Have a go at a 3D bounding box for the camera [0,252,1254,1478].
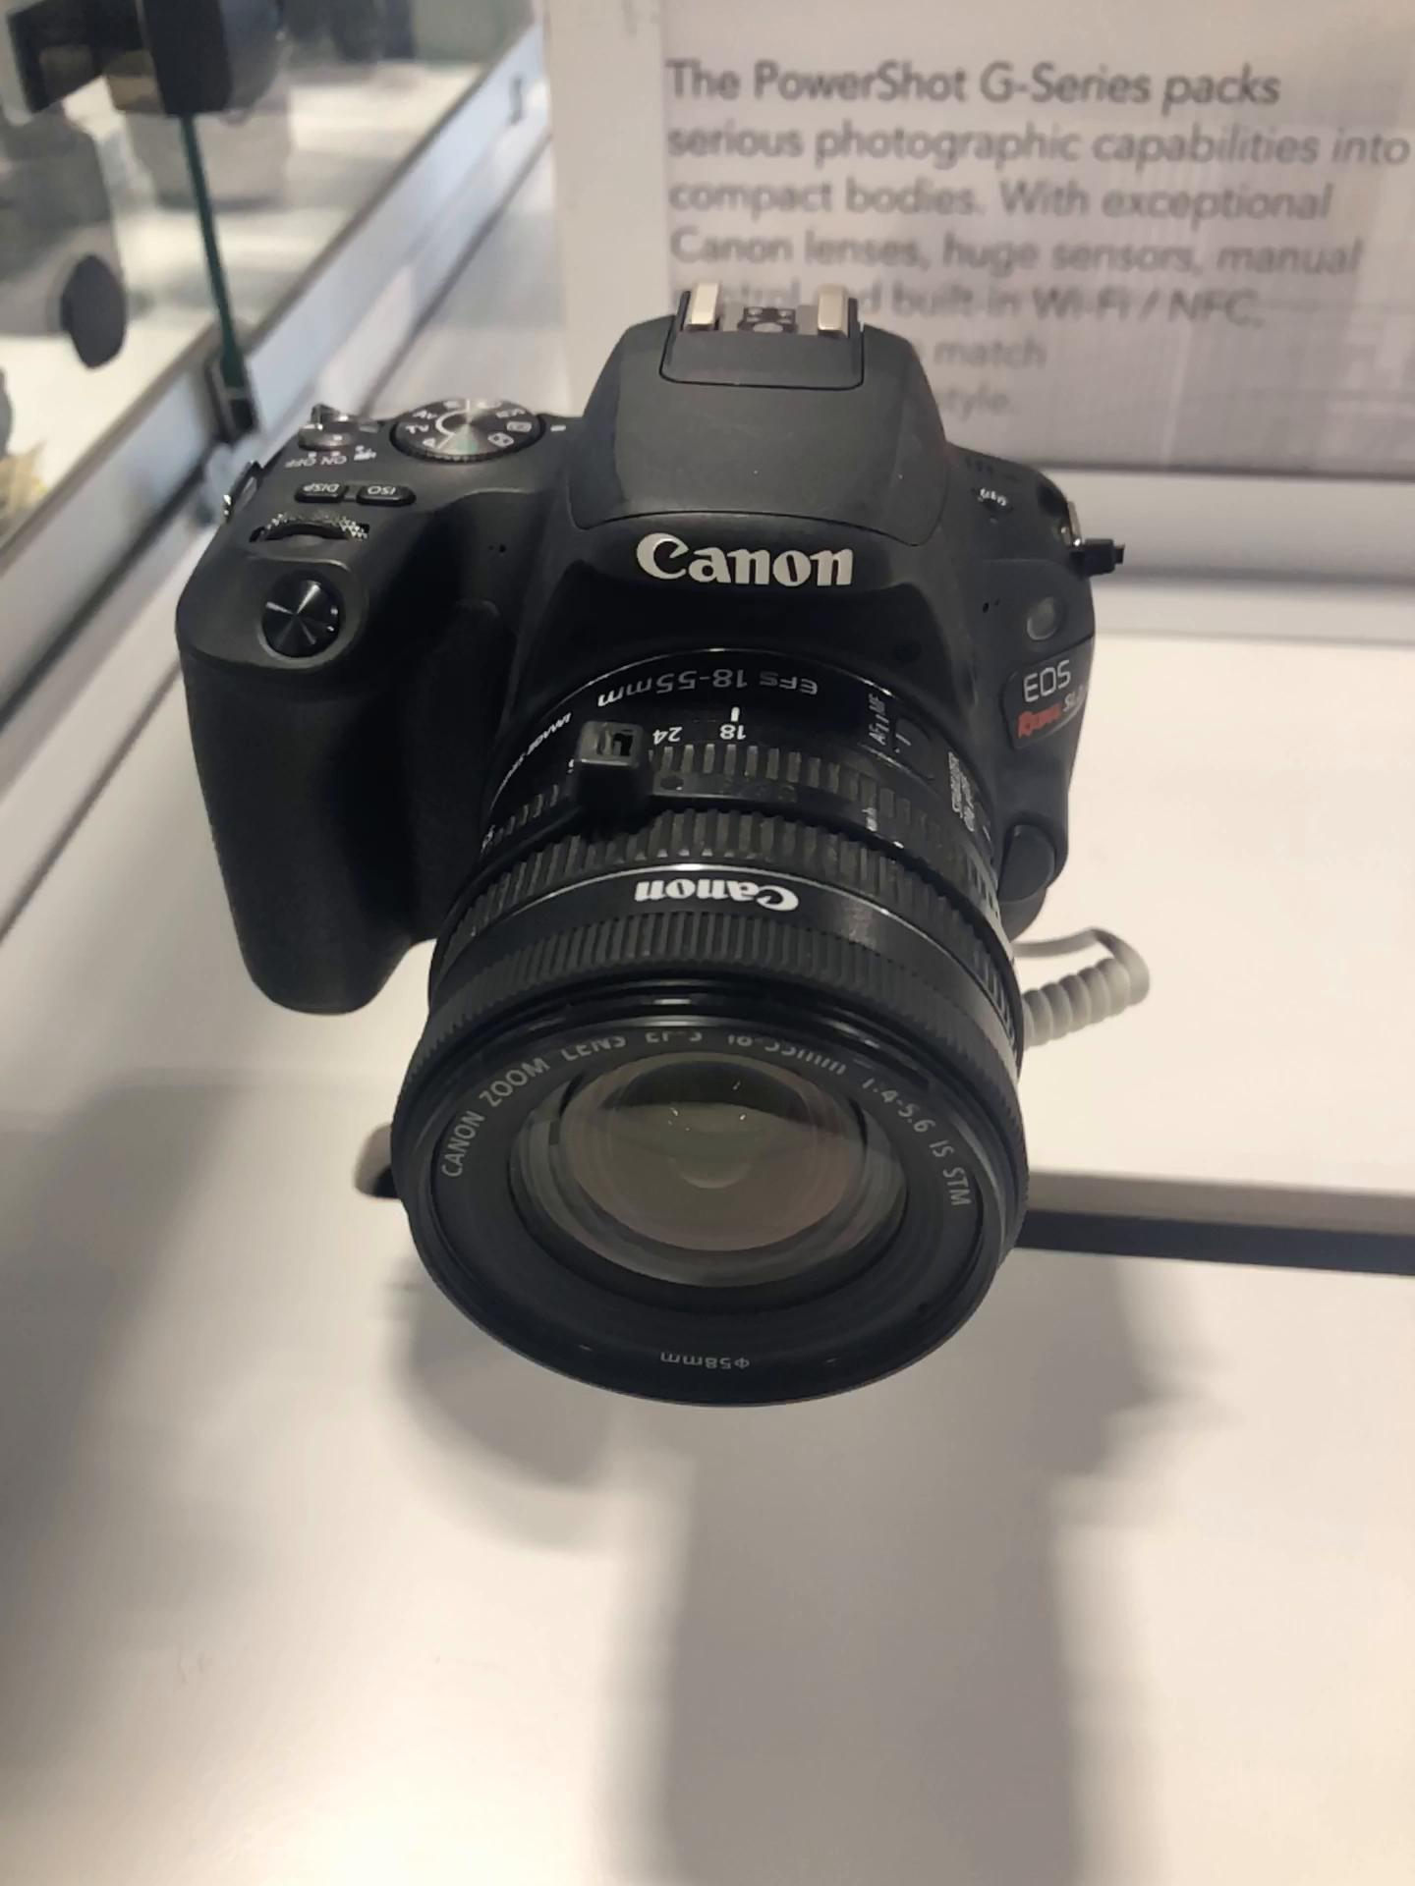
[{"bbox_3d":[-0.014,-0.015,0.196,0.122,0.099,0.111,3,41,5],"label":"camera"}]
